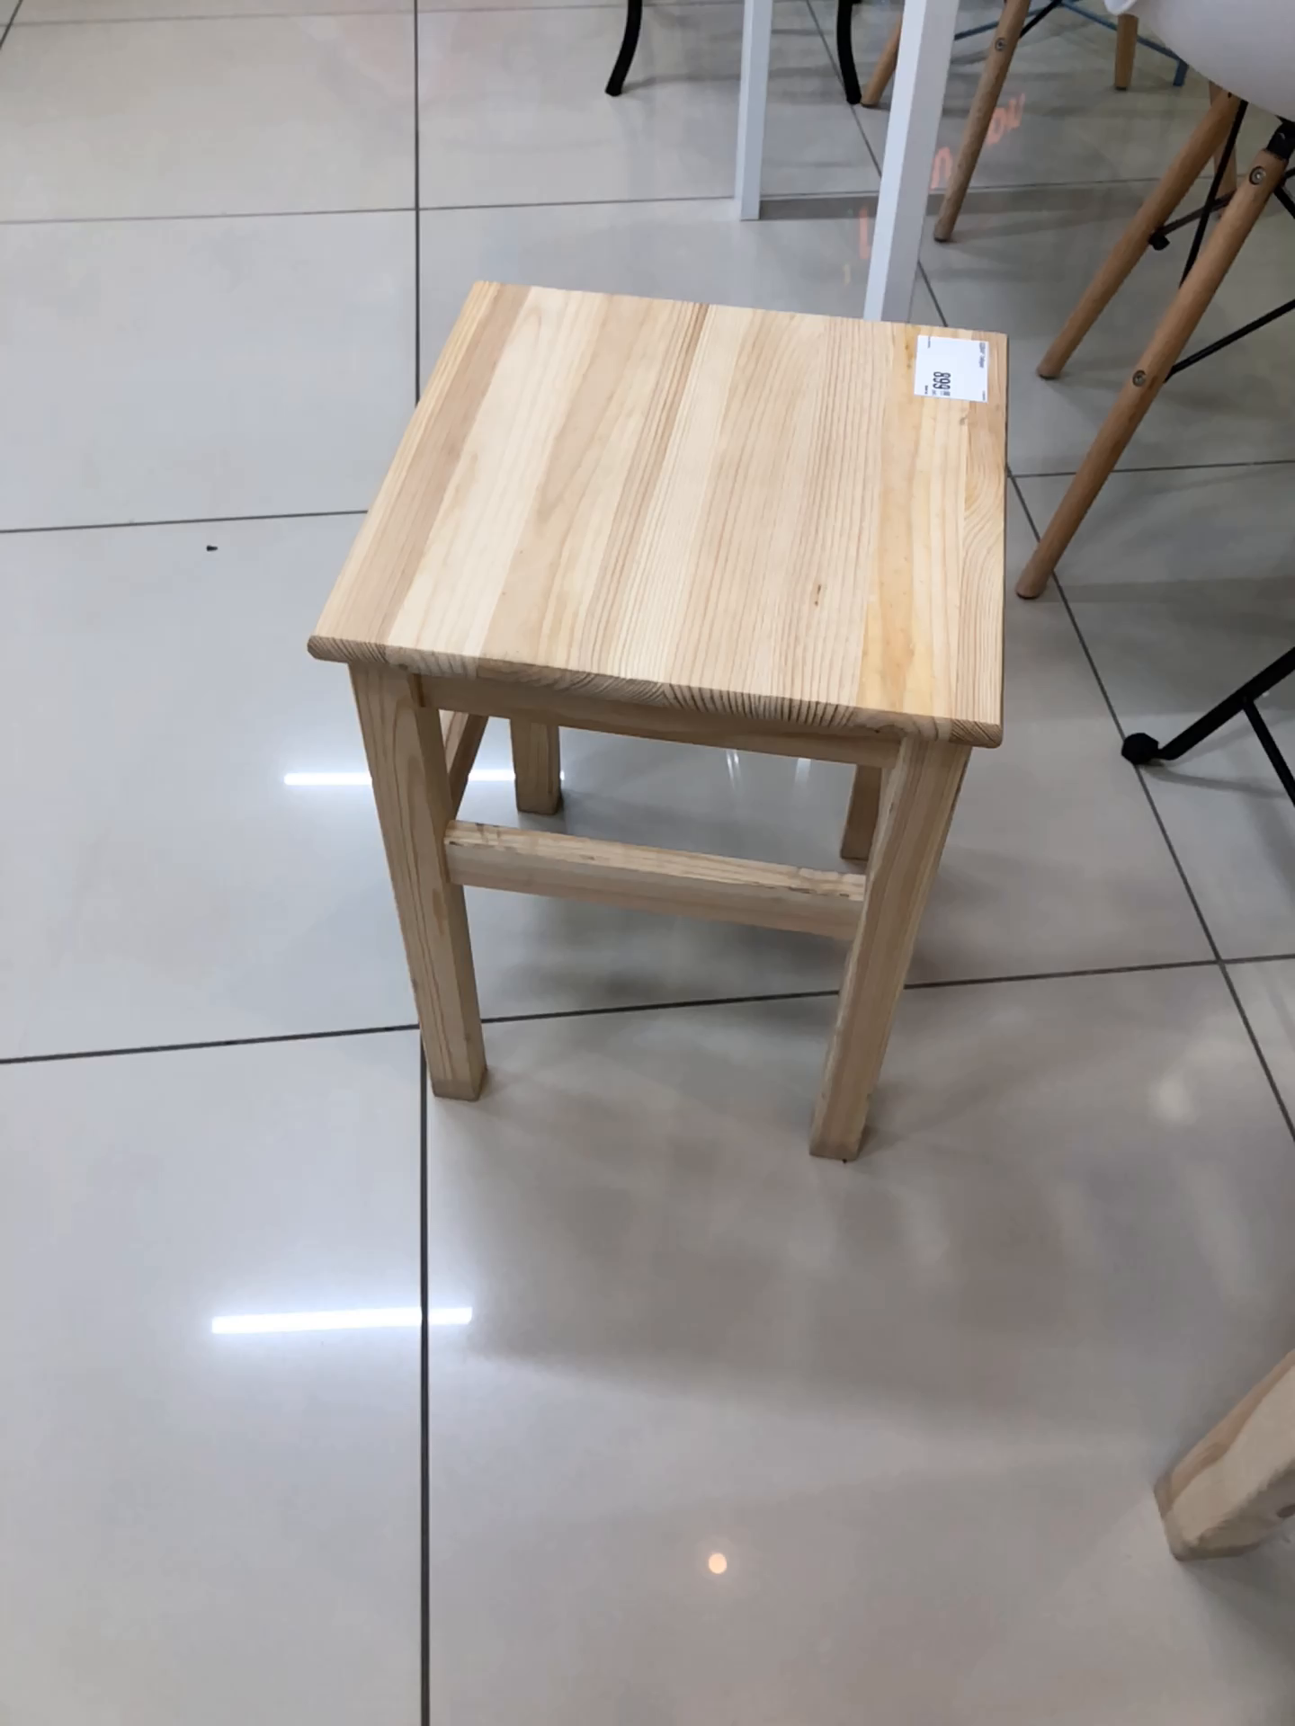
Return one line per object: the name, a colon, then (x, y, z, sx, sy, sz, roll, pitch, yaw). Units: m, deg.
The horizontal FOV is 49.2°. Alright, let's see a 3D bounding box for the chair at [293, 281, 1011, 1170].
chair: (0.023, -0.074, 0.890, 0.320, 0.407, 0.329, 8, 51, 6)
